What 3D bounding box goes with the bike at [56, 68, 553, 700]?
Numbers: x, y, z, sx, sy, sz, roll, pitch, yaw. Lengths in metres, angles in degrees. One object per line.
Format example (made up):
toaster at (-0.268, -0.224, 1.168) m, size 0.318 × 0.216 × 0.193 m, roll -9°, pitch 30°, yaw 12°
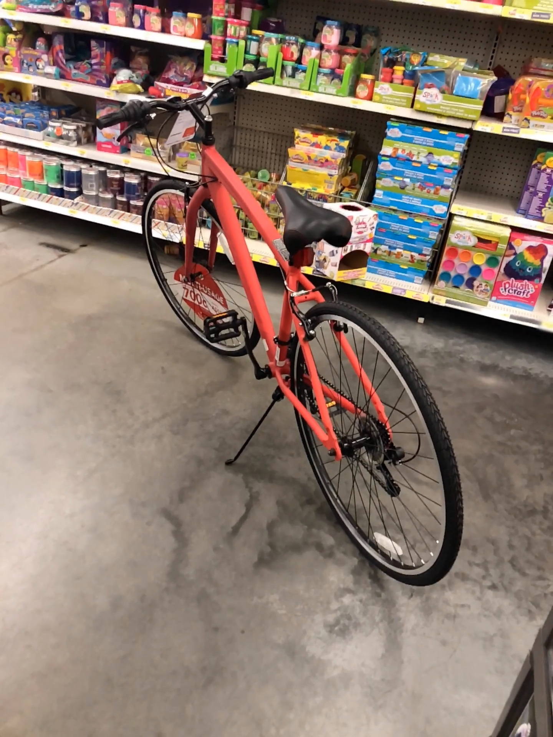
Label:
bike at (-0.086, -0.213, 1.721) m, size 0.613 × 1.001 × 1.695 m, roll -11°, pitch 33°, yaw -29°
